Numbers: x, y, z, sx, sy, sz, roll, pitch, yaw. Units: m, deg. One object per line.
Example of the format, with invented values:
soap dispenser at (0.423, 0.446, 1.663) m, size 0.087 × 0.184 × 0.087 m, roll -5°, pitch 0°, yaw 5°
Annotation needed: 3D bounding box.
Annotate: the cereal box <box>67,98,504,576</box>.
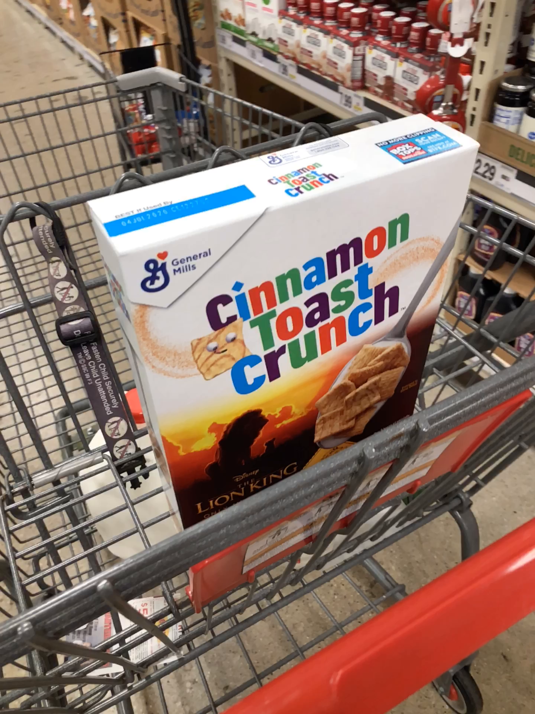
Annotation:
cereal box at (0.018, 0.014, 0.396) m, size 0.210 × 0.309 × 0.050 m, roll -21°, pitch 49°, yaw -17°
